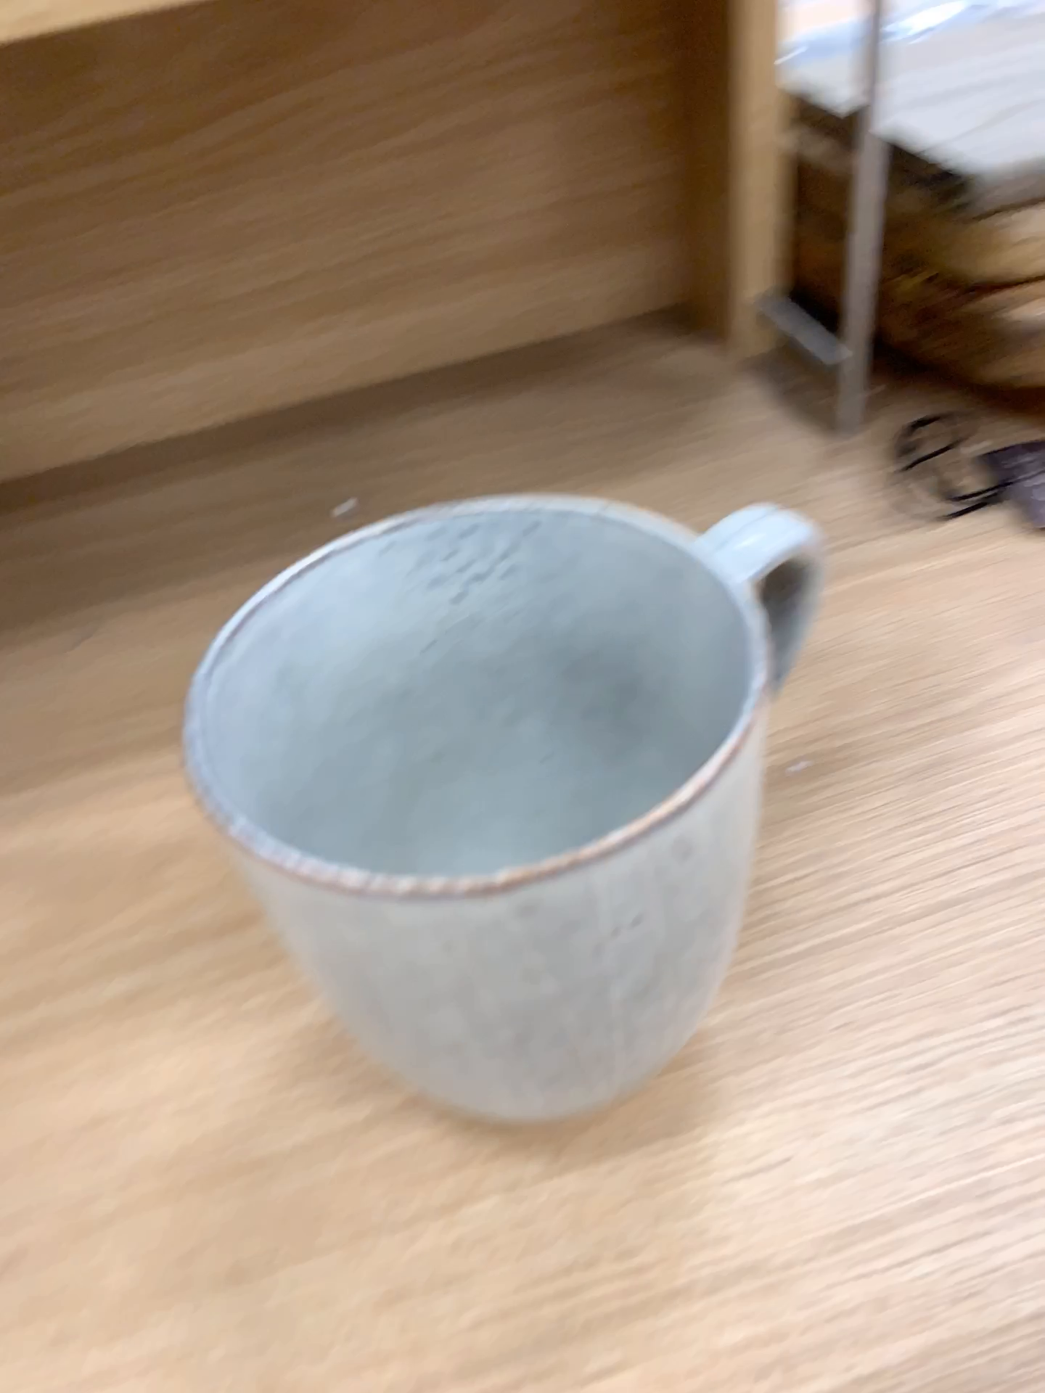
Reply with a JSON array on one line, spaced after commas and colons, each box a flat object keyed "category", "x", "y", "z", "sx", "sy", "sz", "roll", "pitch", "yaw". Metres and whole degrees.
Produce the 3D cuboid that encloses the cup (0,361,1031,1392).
[{"category": "cup", "x": 0.003, "y": 0.023, "z": 0.208, "sx": 0.107, "sy": 0.098, "sz": 0.136, "roll": 30, "pitch": 56, "yaw": 33}]
